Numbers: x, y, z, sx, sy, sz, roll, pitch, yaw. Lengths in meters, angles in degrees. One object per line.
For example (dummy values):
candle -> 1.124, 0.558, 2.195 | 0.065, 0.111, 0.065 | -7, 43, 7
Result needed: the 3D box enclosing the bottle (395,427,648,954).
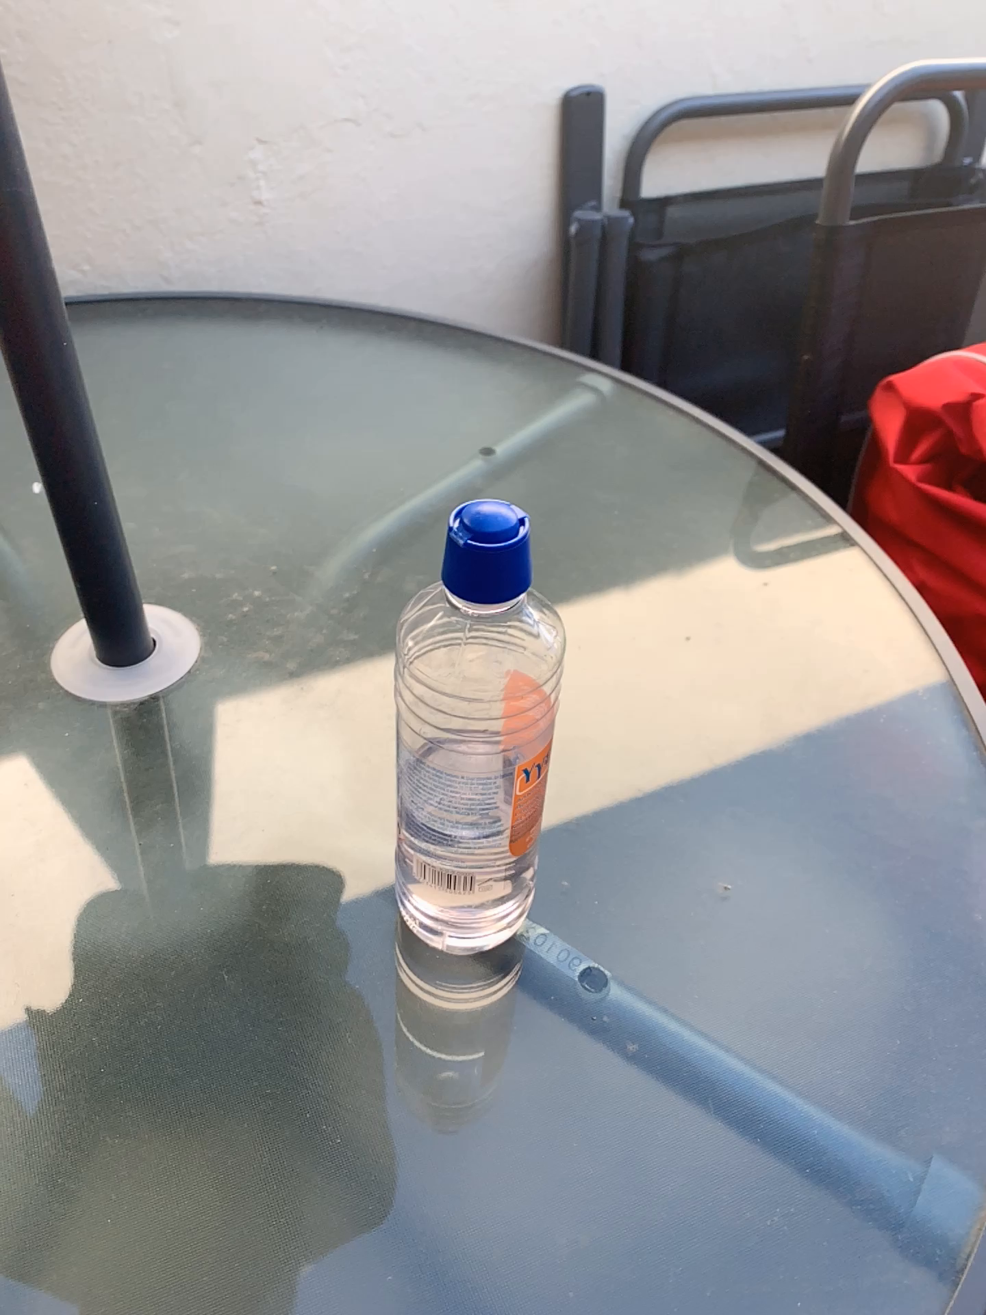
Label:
bottle -> 0.006, 0.017, 0.315 | 0.060, 0.158, 0.061 | 2, 40, -1
